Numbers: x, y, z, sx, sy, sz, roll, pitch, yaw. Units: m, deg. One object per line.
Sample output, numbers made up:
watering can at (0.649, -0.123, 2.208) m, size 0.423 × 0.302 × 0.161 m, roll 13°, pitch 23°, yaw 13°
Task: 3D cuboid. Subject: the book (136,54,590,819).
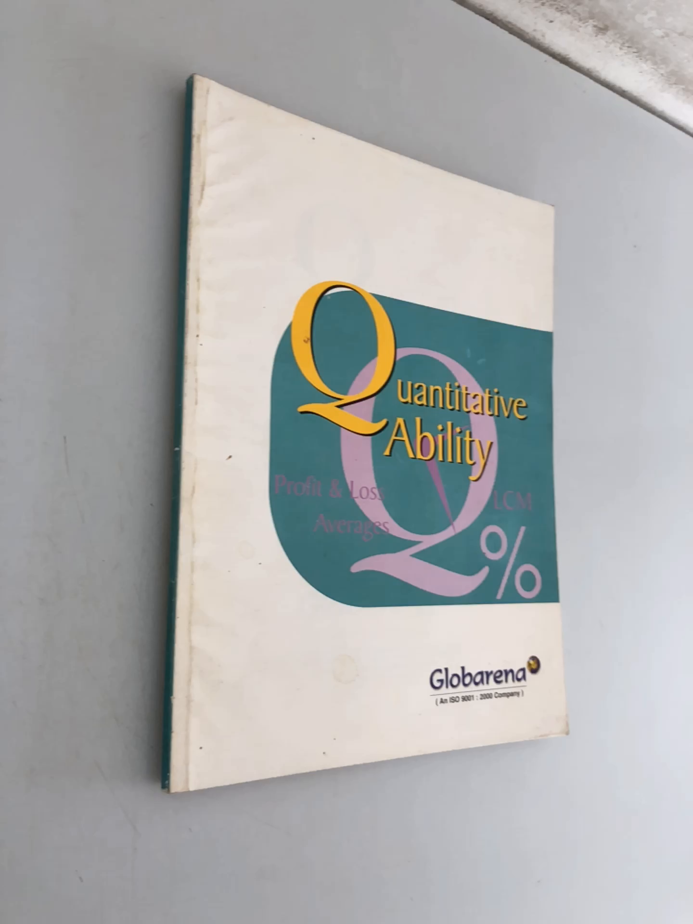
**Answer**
book at (0.021, -0.006, 0.300) m, size 0.191 × 0.020 × 0.240 m, roll 5°, pitch 82°, yaw -33°
